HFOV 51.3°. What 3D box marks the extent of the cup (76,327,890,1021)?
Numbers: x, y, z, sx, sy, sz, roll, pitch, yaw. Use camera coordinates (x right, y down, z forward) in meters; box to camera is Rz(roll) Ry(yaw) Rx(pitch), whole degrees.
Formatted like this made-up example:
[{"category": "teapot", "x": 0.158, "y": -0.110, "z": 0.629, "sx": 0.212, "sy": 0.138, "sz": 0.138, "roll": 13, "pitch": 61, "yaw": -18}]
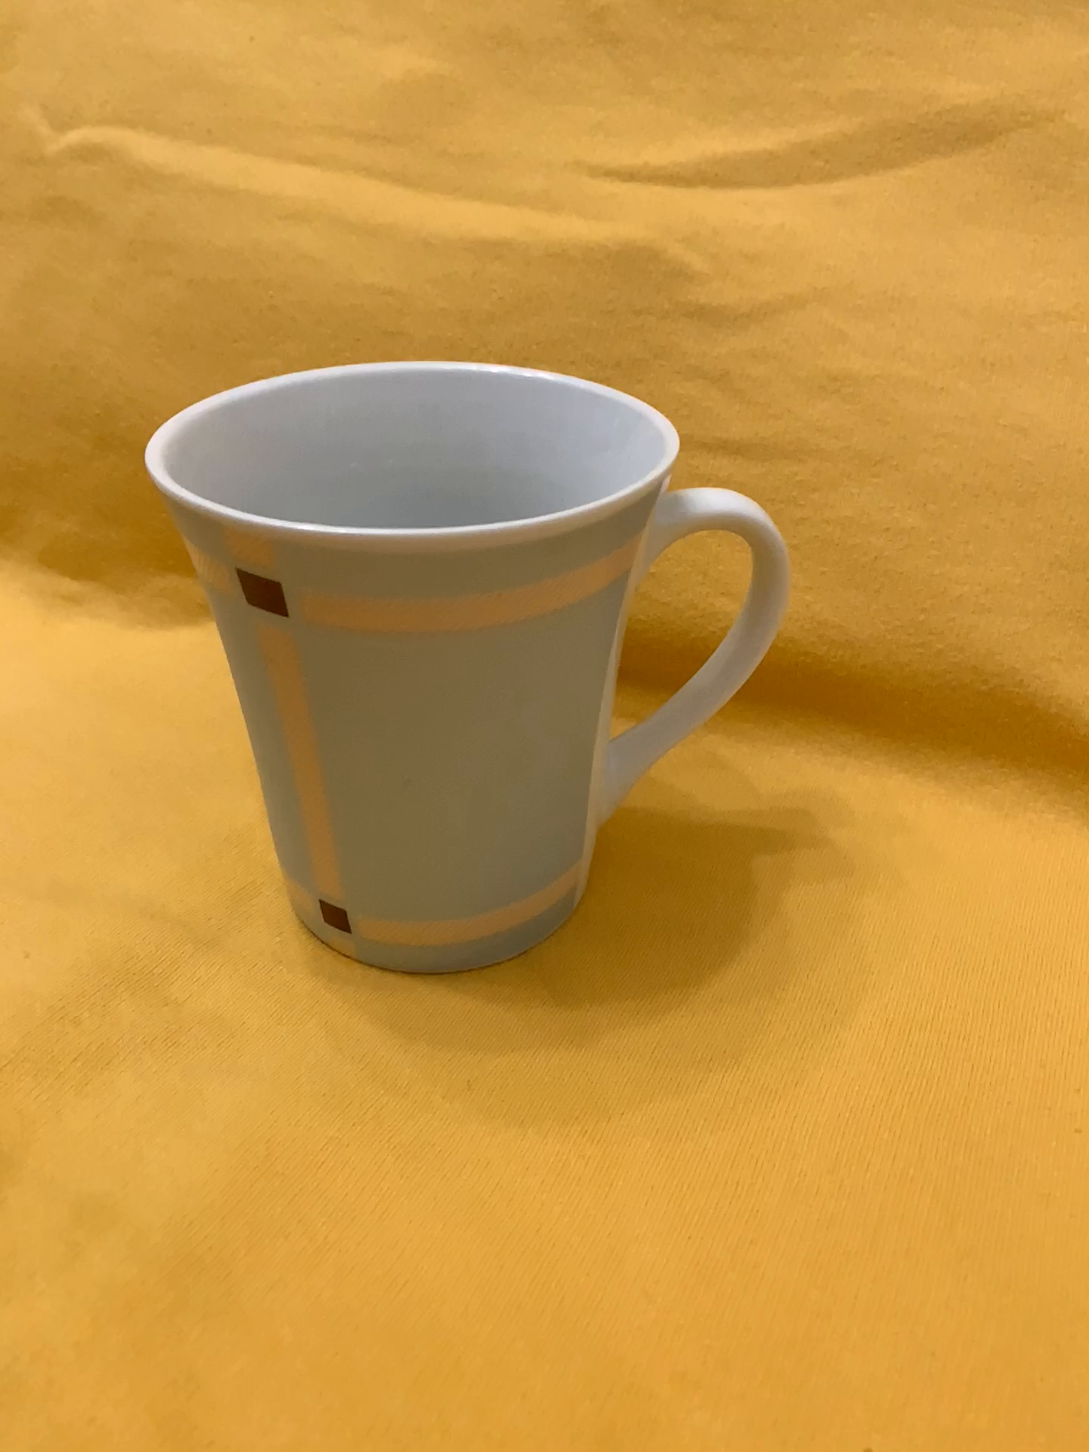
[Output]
[{"category": "cup", "x": -0.012, "y": -0.016, "z": 0.237, "sx": 0.120, "sy": 0.103, "sz": 0.099, "roll": -3, "pitch": 34, "yaw": -4}]
